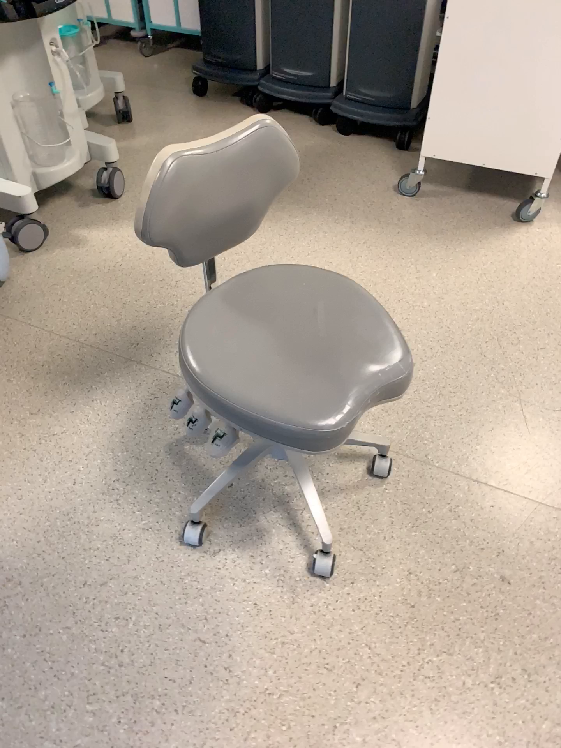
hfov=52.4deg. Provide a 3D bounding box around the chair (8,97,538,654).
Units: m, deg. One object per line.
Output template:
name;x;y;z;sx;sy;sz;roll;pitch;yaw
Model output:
chair;-0.013;0.007;1.213;0.603;0.822;0.603;-36;56;-28
